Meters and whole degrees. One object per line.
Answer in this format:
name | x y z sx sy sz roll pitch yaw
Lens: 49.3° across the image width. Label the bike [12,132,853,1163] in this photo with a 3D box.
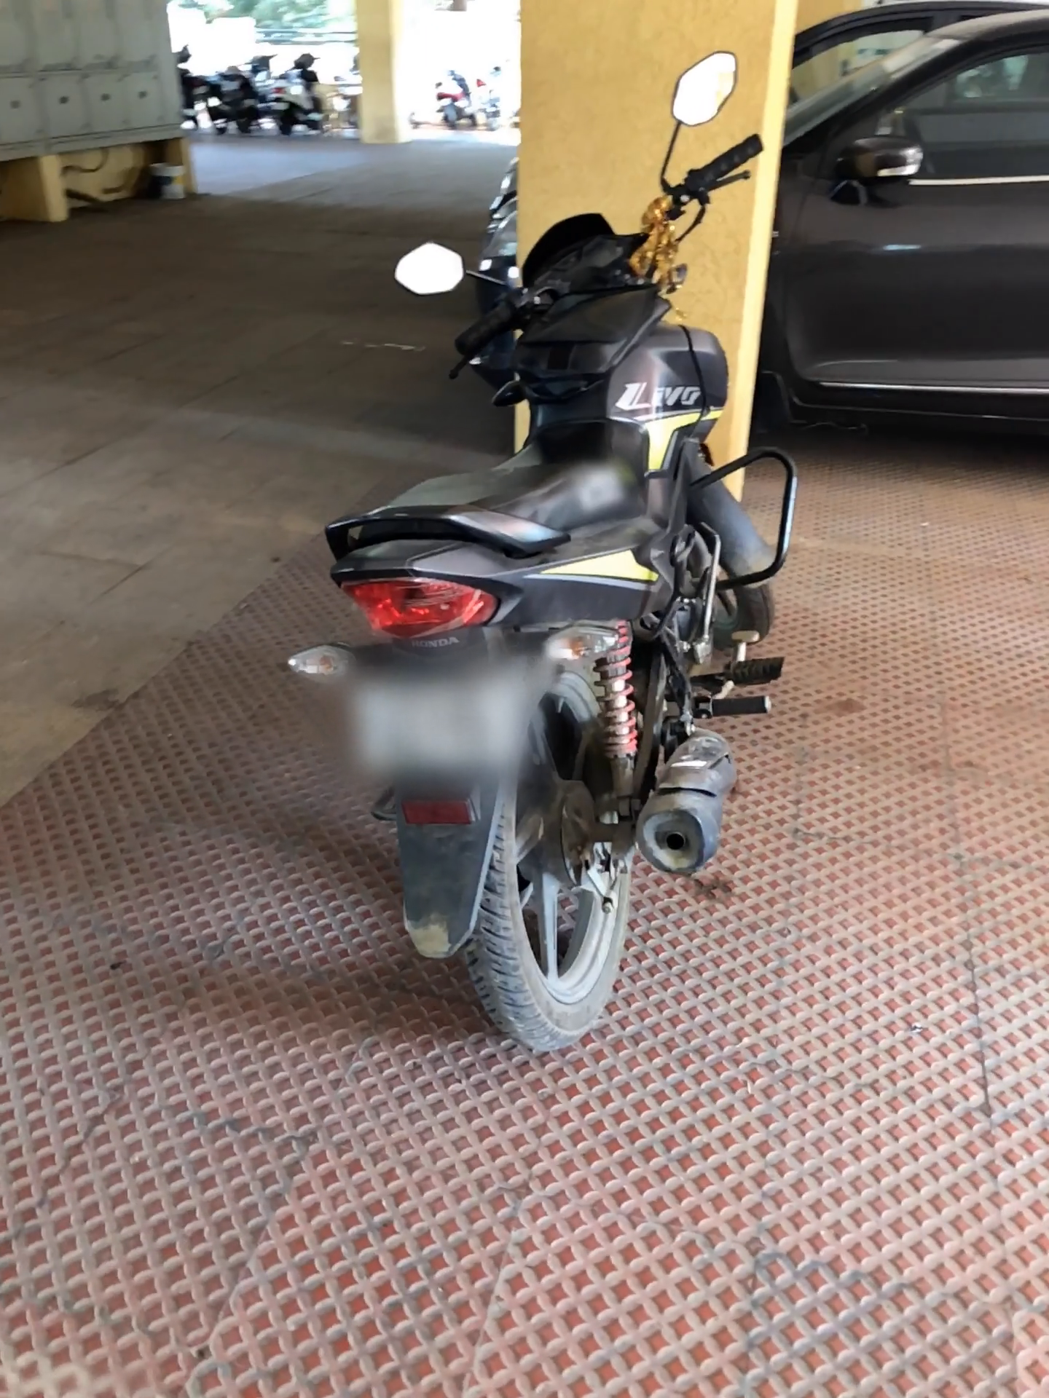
bike | 0.082 -0.306 1.960 0.716 1.088 1.629 8 31 13
